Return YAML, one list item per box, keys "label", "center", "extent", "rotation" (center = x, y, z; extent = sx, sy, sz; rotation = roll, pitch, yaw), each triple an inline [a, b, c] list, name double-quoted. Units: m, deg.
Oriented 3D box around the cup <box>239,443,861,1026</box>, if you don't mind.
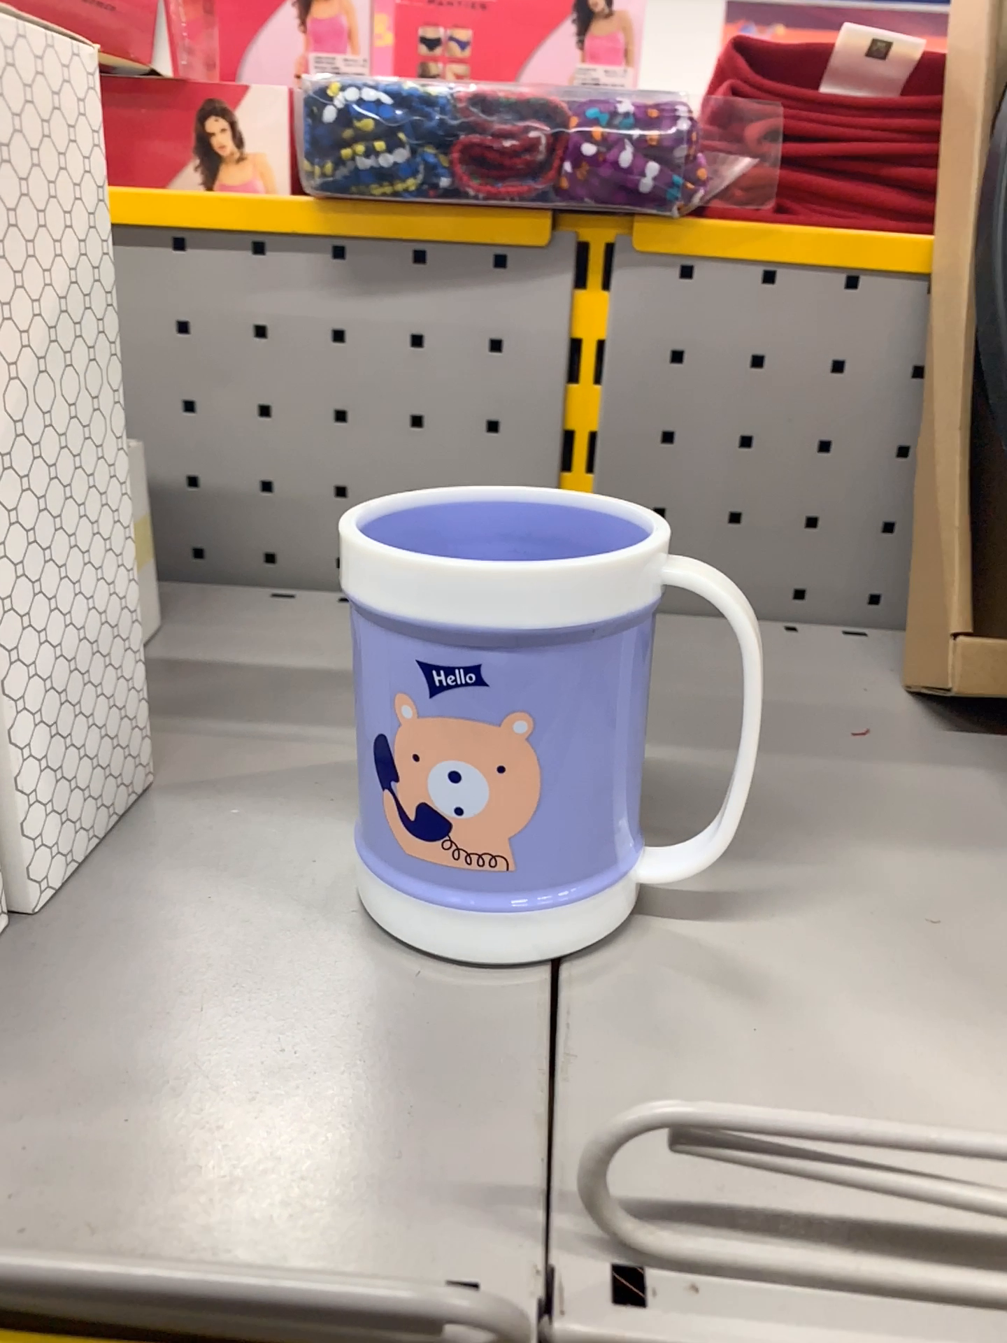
- label: "cup"
  center: [0.012, 0.007, 0.258]
  extent: [0.120, 0.100, 0.090]
  rotation: [7, 22, 10]
